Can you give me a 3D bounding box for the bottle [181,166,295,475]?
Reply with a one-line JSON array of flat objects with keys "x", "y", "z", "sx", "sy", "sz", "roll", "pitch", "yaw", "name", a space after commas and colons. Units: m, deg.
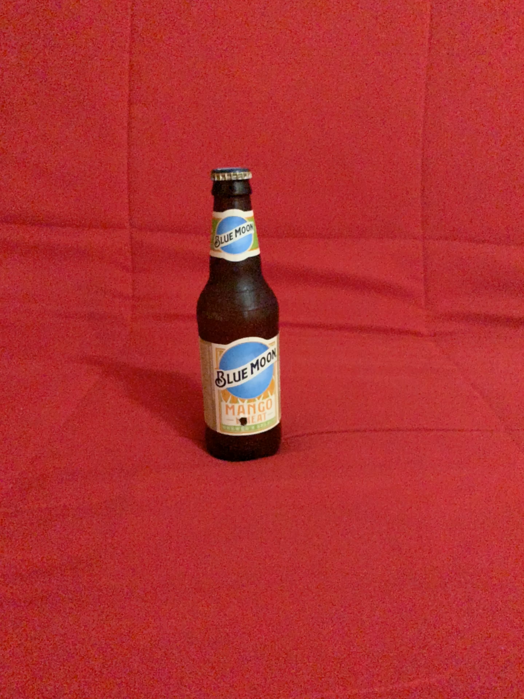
[{"x": -0.016, "y": -0.019, "z": 0.405, "sx": 0.070, "sy": 0.216, "sz": 0.069, "roll": -1, "pitch": 23, "yaw": 0, "name": "bottle"}]
